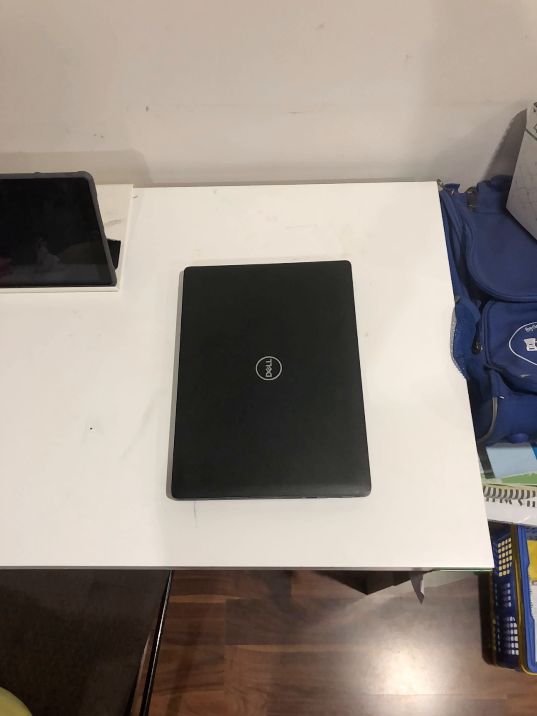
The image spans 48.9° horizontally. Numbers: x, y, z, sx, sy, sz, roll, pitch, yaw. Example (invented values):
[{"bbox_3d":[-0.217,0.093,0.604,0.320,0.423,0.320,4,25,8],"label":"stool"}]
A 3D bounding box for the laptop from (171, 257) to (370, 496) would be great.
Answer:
[{"bbox_3d":[-0.002,0.013,0.785,0.241,0.010,0.333,-3,65,4],"label":"laptop"}]
